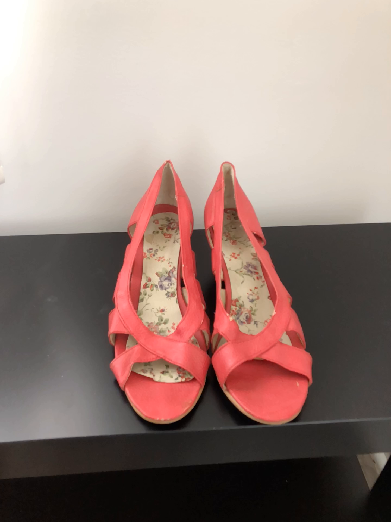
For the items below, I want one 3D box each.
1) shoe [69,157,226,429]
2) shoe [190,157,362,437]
[{"bbox_3d":[-0.037,0.008,0.356,0.087,0.100,0.221,-3,38,-5],"label":"shoe"},{"bbox_3d":[0.043,0.009,0.357,0.077,0.100,0.231,-3,38,-5],"label":"shoe"}]
